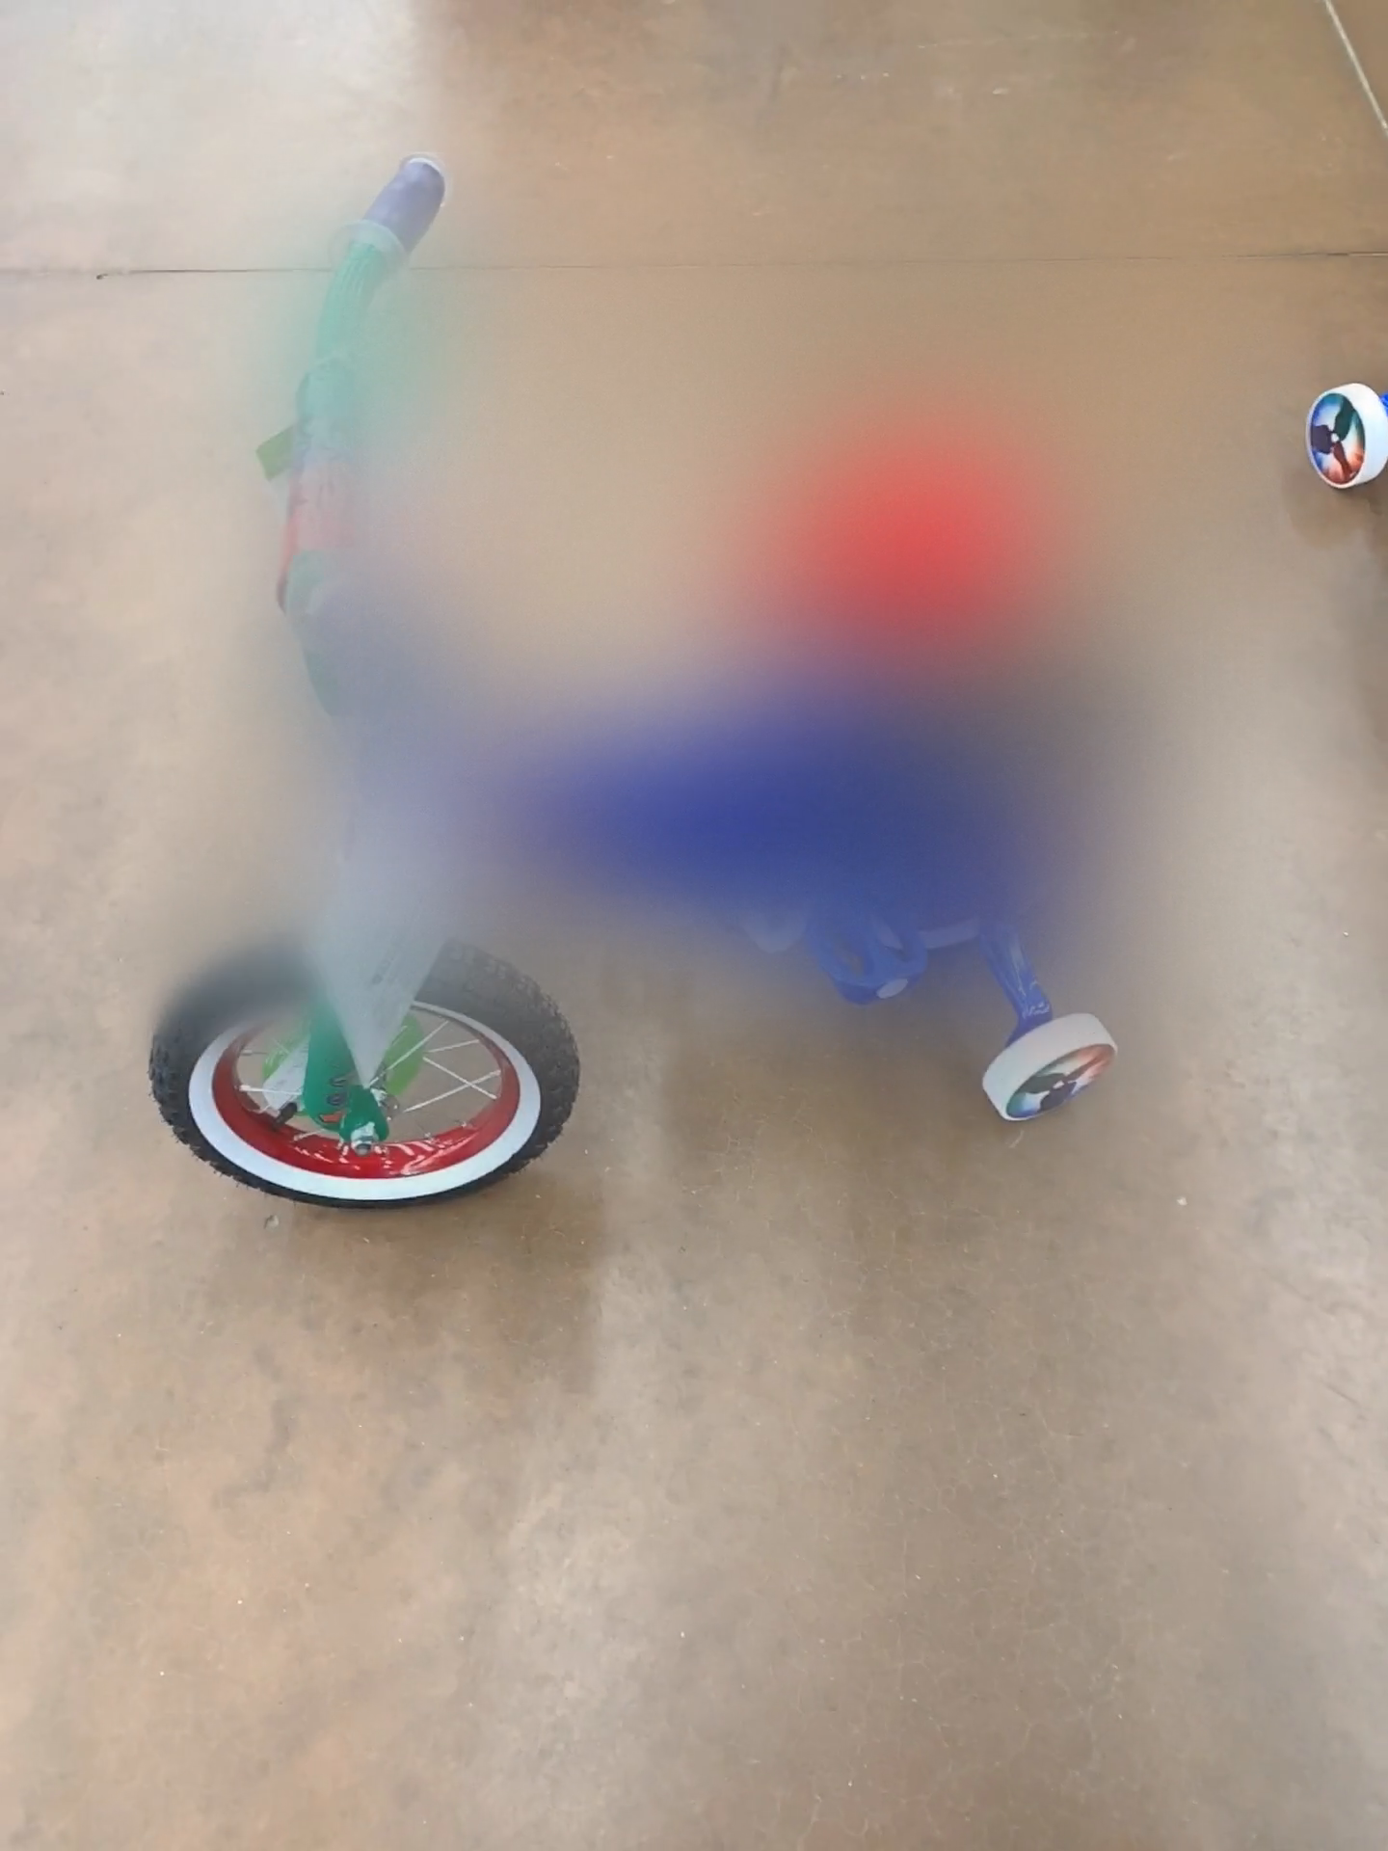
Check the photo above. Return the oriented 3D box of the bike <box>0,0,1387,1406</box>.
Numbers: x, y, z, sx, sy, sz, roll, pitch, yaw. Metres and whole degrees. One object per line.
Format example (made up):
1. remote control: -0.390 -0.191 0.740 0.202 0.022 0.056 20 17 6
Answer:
1. bike: -0.025 -0.136 0.931 0.775 0.670 0.461 -19 58 -12
